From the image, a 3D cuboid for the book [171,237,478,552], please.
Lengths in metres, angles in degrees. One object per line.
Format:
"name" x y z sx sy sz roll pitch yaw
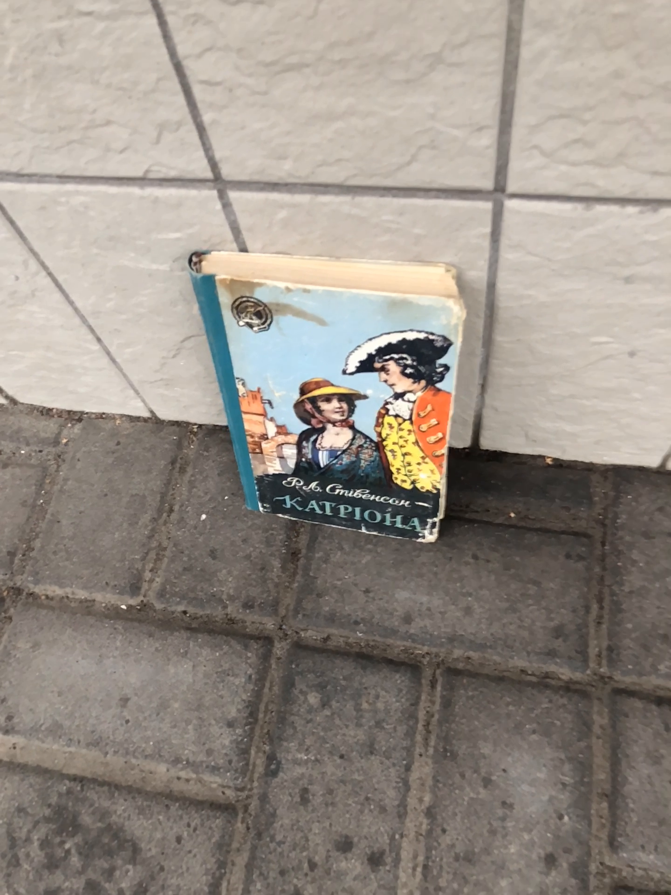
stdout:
"book" 0.001 -0.019 0.401 0.134 0.189 0.030 9 52 13
